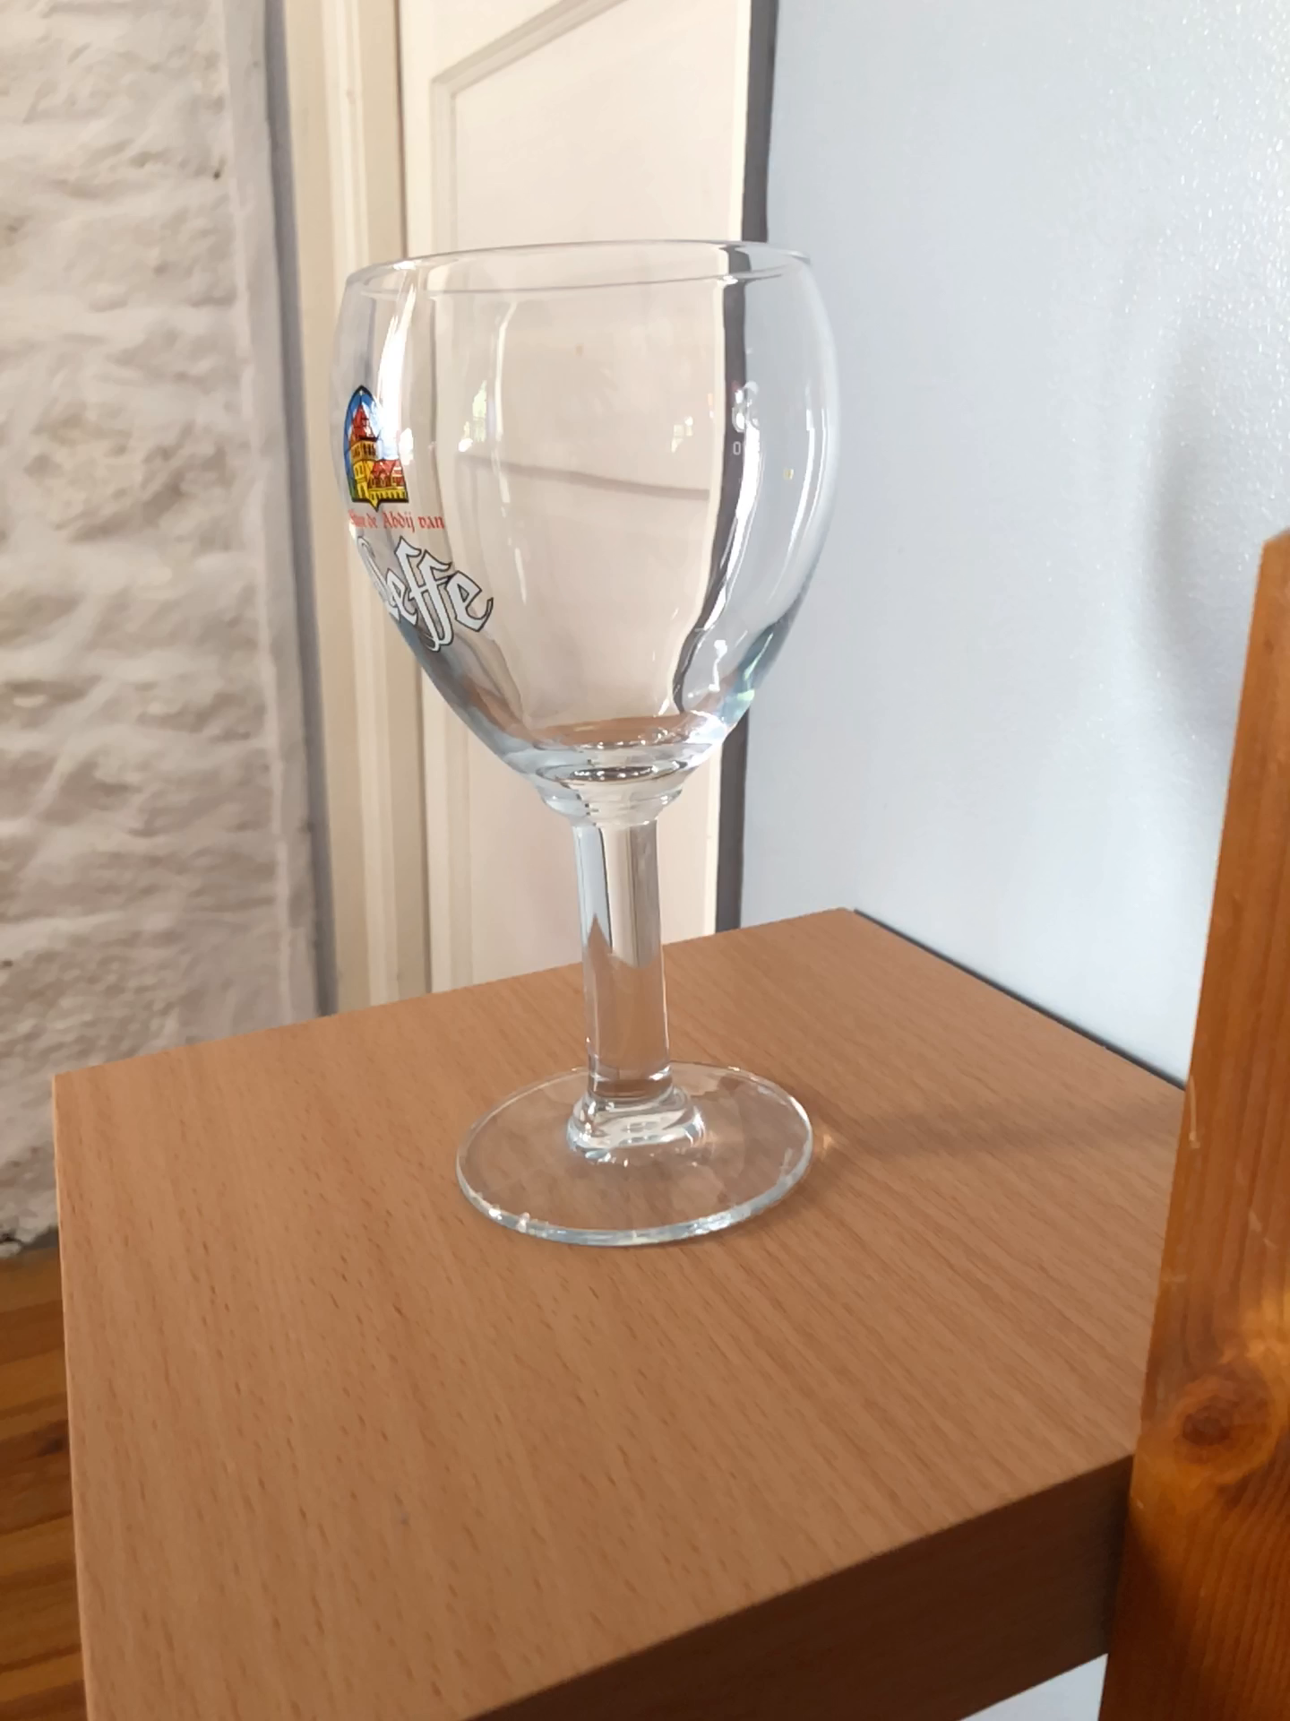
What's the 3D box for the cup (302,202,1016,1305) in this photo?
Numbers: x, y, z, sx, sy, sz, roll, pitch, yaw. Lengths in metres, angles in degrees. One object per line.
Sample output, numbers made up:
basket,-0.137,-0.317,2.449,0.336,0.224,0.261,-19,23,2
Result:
cup,-0.002,-0.027,0.300,0.100,0.185,0.095,1,17,0
